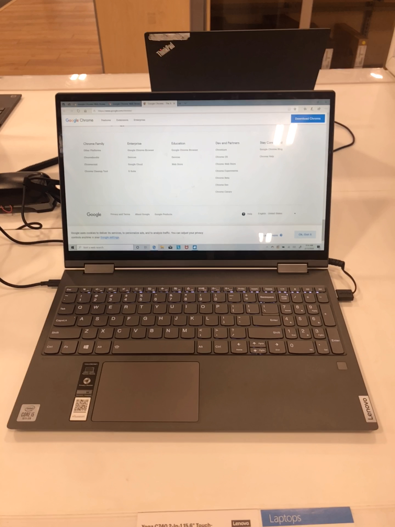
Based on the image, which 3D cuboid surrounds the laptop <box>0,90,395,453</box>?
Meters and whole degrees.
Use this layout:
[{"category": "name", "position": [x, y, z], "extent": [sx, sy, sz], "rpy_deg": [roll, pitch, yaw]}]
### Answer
[{"category": "laptop", "position": [-0.010, -0.020, 0.493], "extent": [0.352, 0.178, 0.366], "rpy_deg": [0, 46, 1]}]
